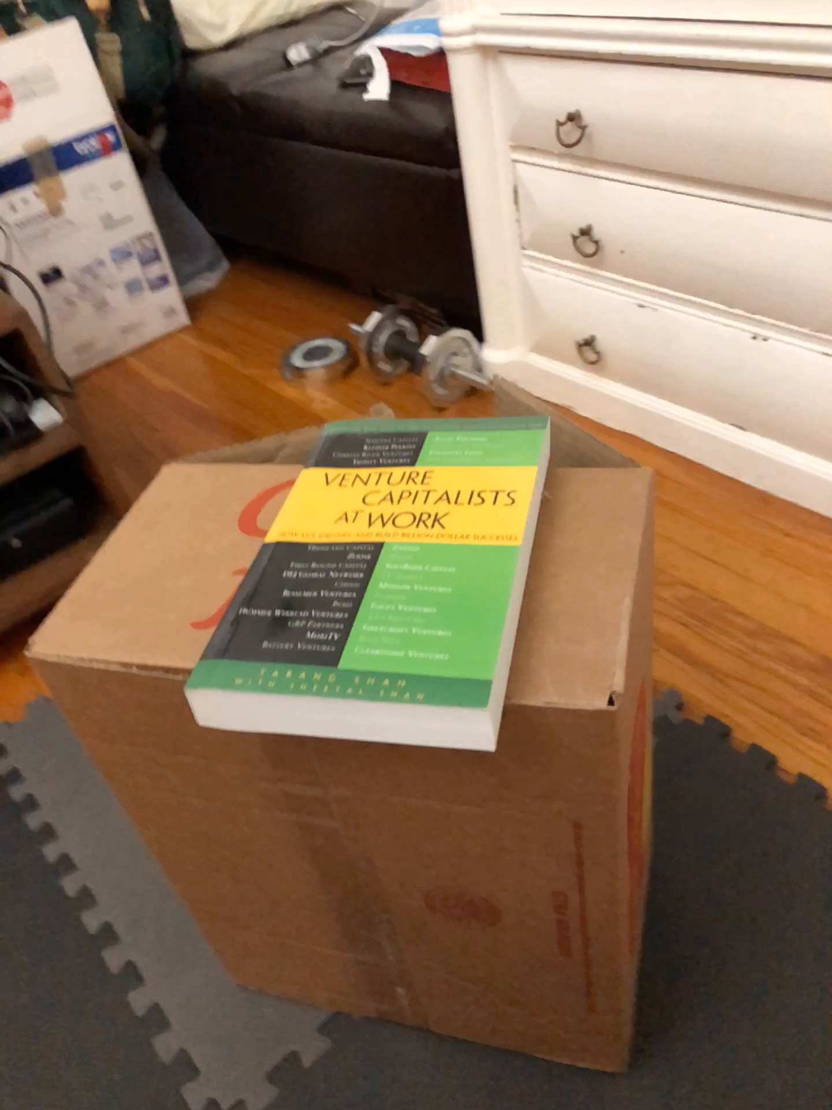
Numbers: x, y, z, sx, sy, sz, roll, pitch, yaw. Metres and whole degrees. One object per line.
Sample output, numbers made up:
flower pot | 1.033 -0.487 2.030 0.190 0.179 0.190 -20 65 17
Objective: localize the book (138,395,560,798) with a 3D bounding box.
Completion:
book | -0.018 0.002 0.505 0.160 0.040 0.261 1 43 17
